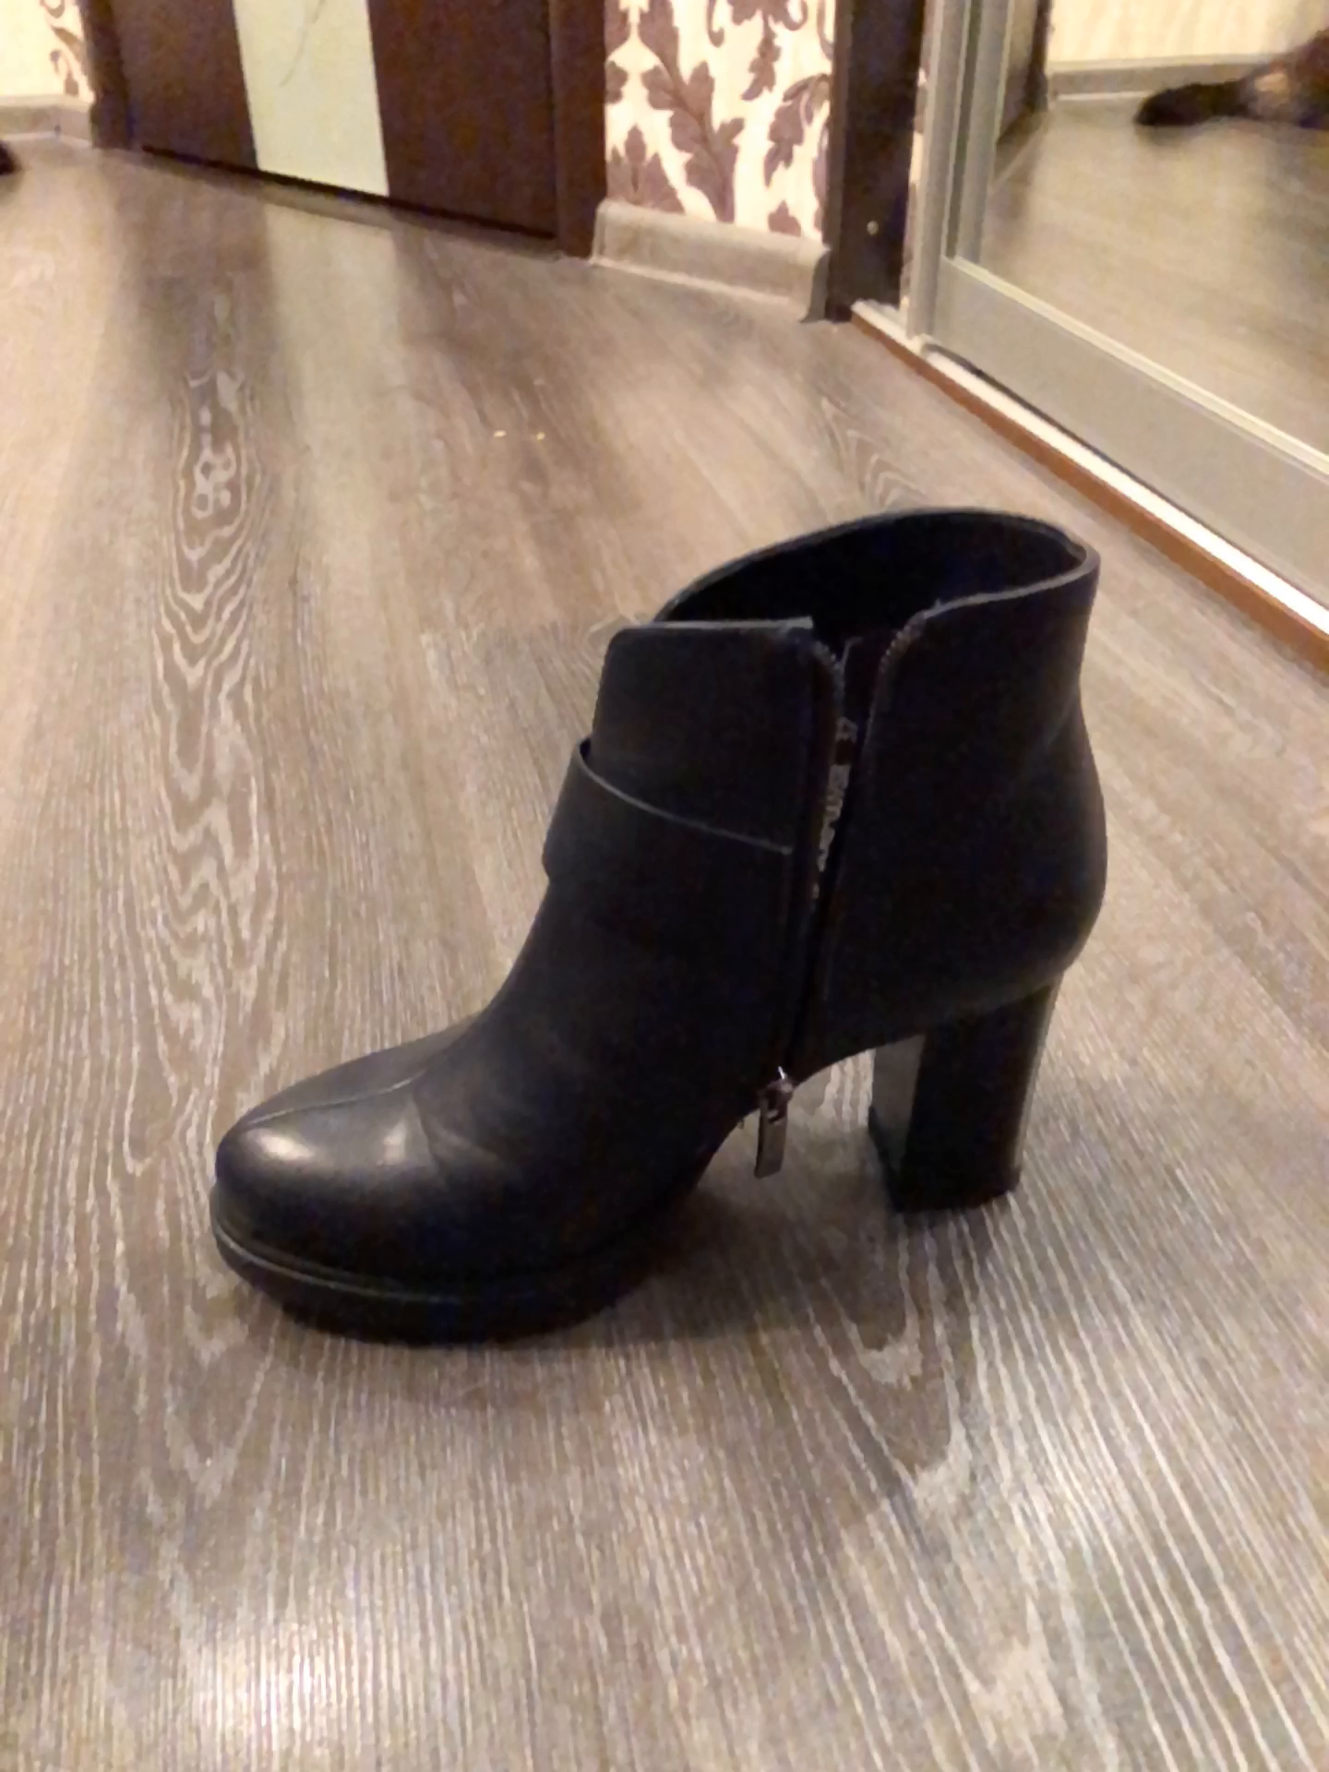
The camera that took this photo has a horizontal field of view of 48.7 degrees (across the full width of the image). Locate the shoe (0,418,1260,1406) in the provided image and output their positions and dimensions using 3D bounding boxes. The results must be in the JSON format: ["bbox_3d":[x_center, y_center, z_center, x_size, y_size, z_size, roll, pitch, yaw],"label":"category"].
[{"bbox_3d":[-0.008,0.004,0.358,0.240,0.189,0.091,-9,35,-11],"label":"shoe"}]
